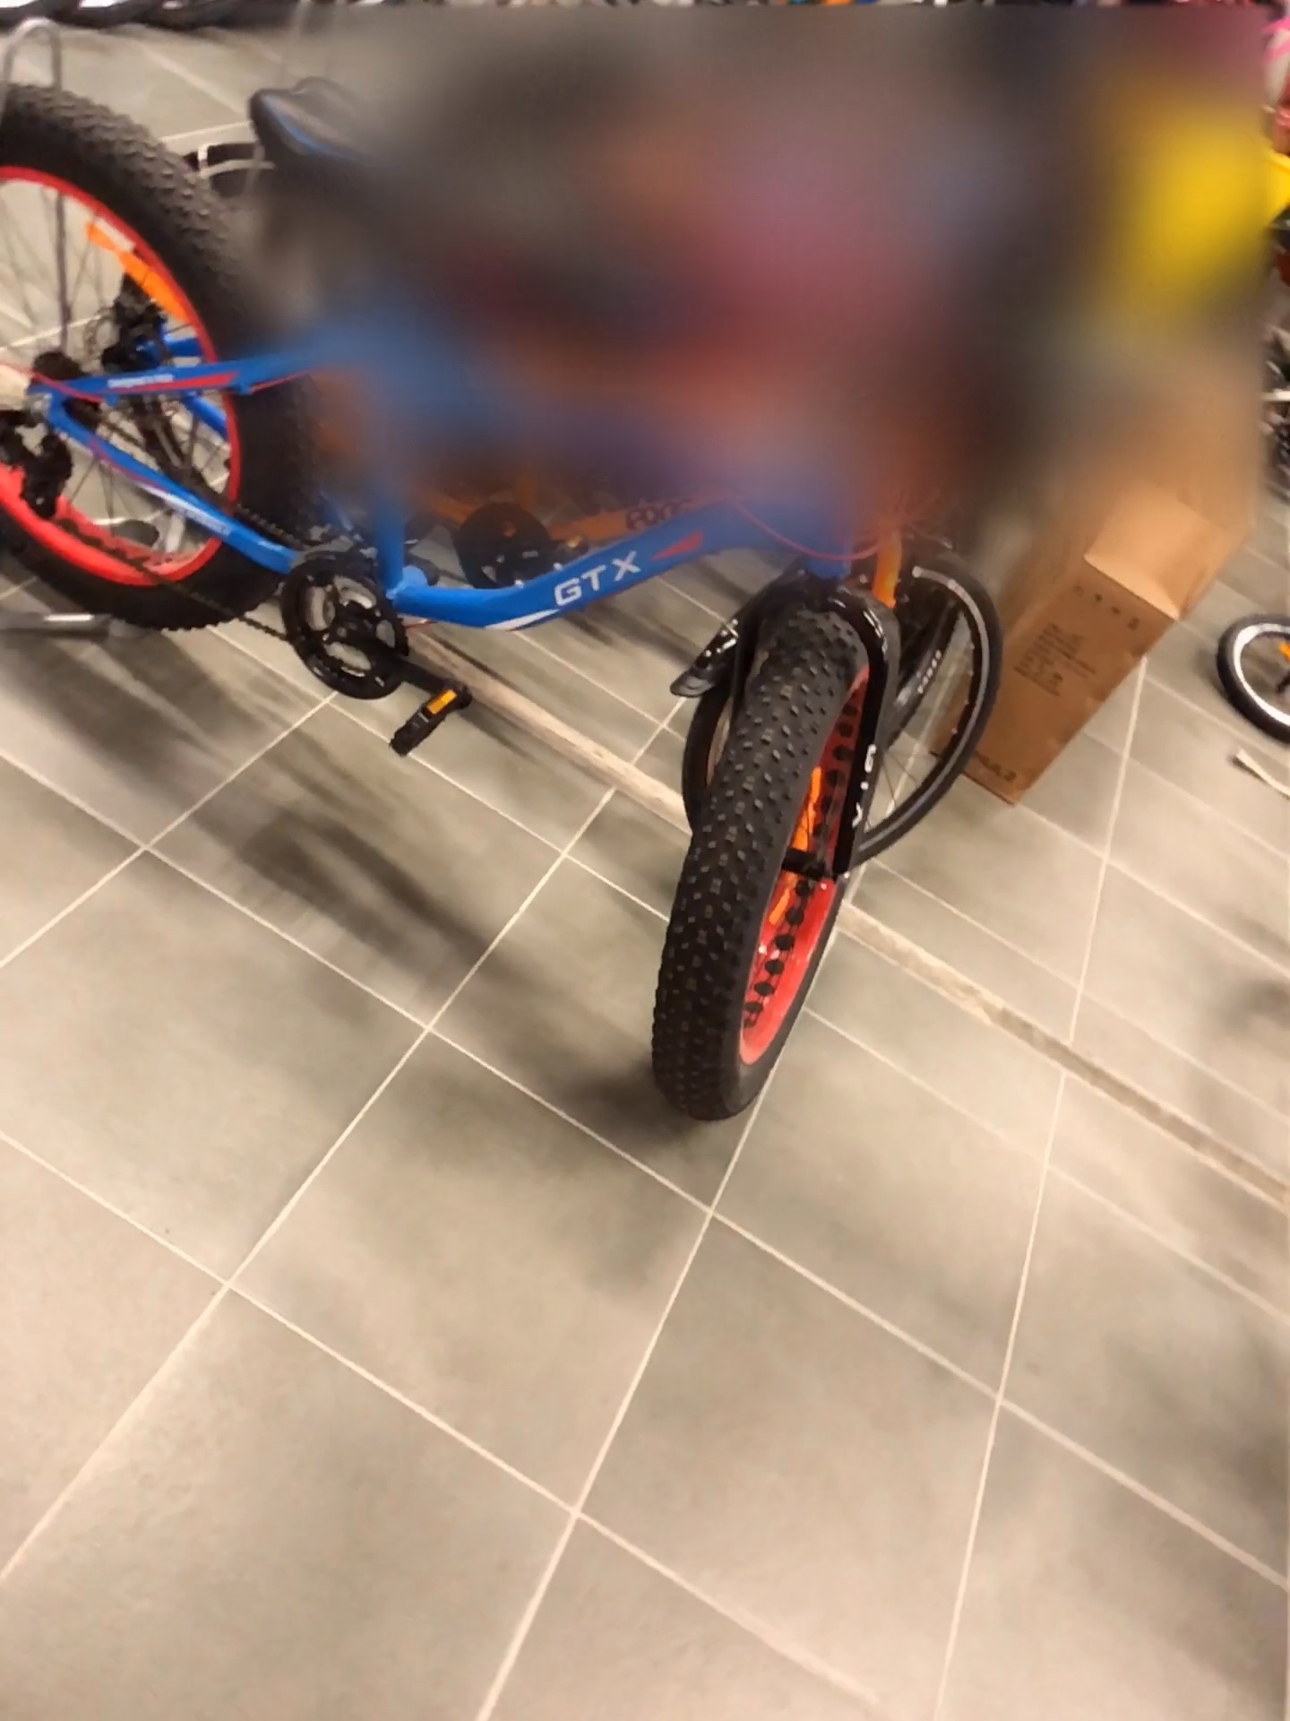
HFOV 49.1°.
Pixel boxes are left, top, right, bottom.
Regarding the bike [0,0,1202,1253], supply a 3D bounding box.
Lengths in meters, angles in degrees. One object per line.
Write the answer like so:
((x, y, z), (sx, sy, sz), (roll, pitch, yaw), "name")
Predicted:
((-0.320, -0.447, 1.620), (1.467, 1.023, 0.618), (33, 38, 1), "bike")
